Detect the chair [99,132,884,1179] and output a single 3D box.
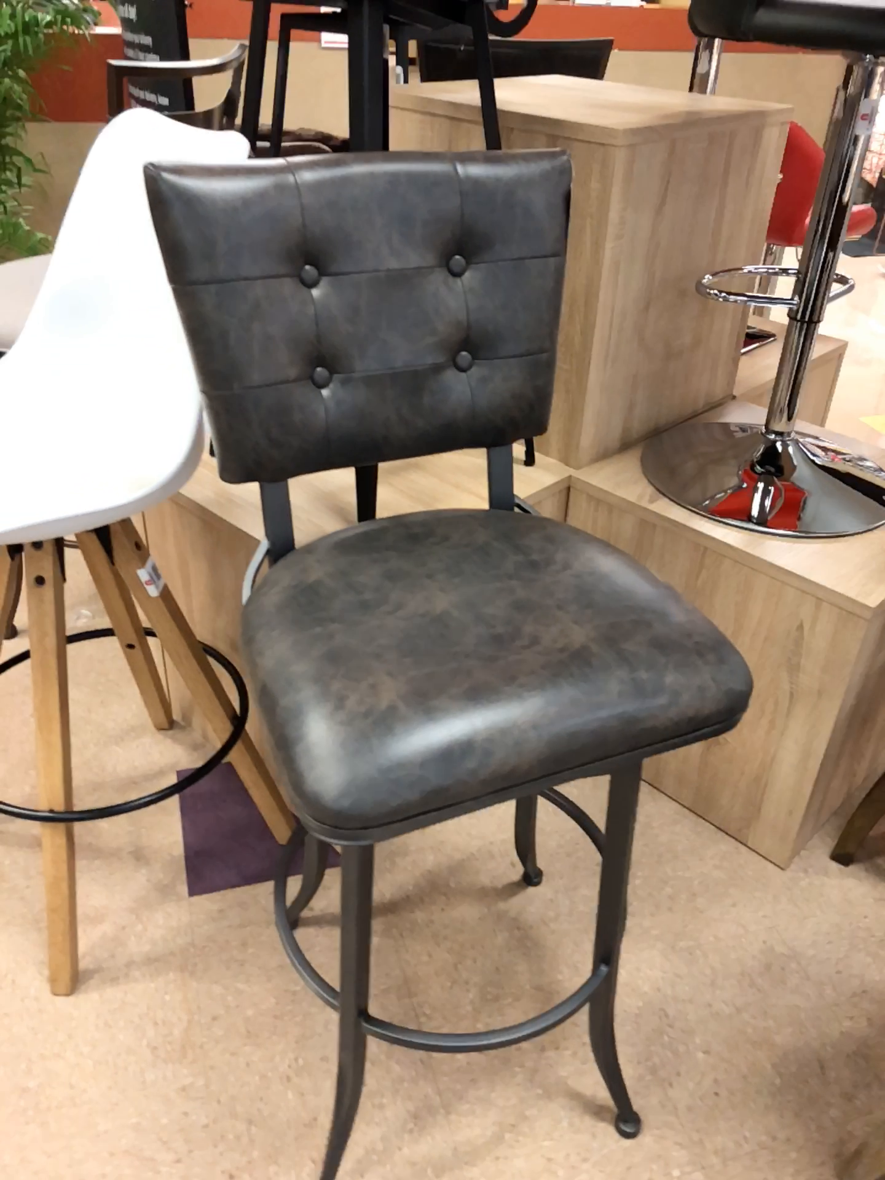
[{"bbox_3d":[0.007,0.138,1.096,0.518,1.107,0.514,-12,36,-19],"label":"chair"}]
